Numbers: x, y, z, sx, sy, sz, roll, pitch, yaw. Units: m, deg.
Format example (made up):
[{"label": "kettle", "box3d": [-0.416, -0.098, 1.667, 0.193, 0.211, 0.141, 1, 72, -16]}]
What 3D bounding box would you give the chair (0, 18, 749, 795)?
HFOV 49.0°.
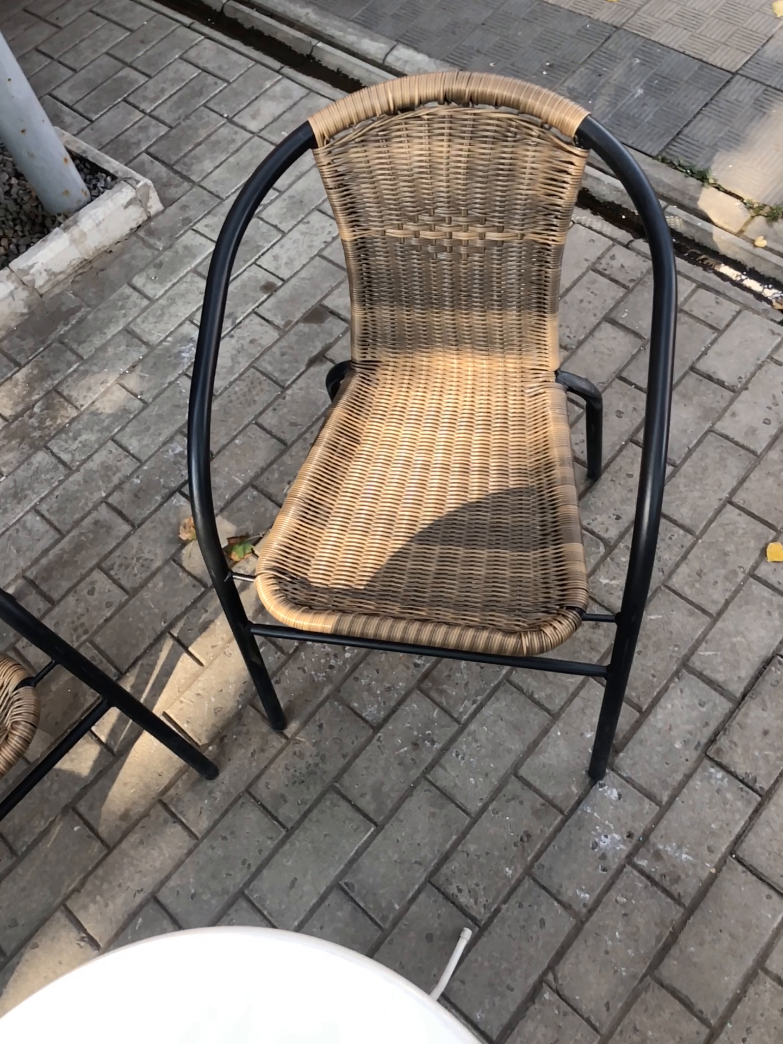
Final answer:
[{"label": "chair", "box3d": [0.062, -0.088, 1.023, 0.540, 0.669, 0.591, 6, 63, 12]}]
